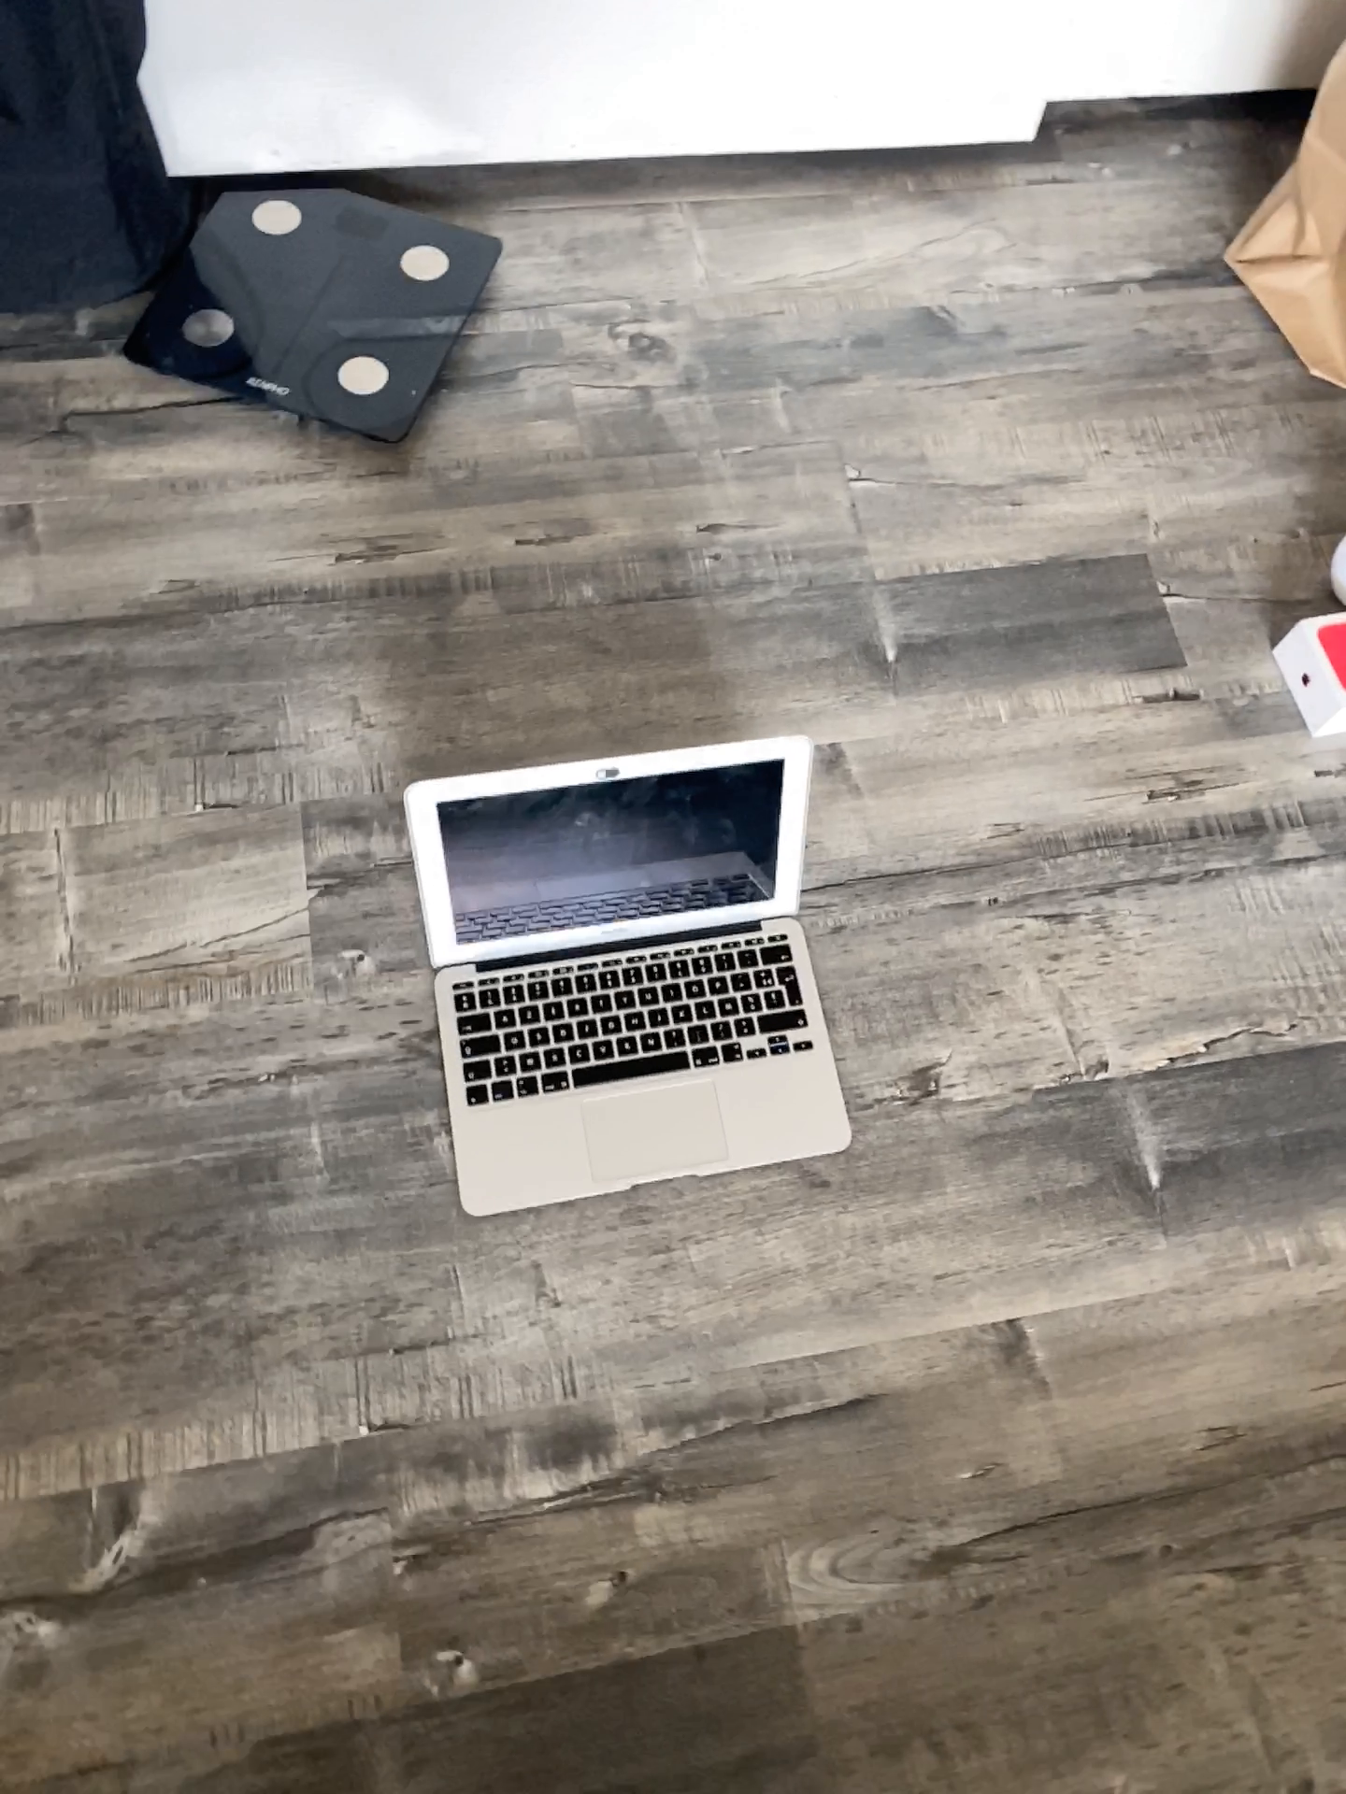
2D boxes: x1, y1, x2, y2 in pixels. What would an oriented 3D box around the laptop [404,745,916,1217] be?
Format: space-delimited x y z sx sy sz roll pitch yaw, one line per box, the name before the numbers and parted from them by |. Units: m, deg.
laptop | -0.021 0.058 0.964 0.290 0.160 0.255 -8 65 -9
